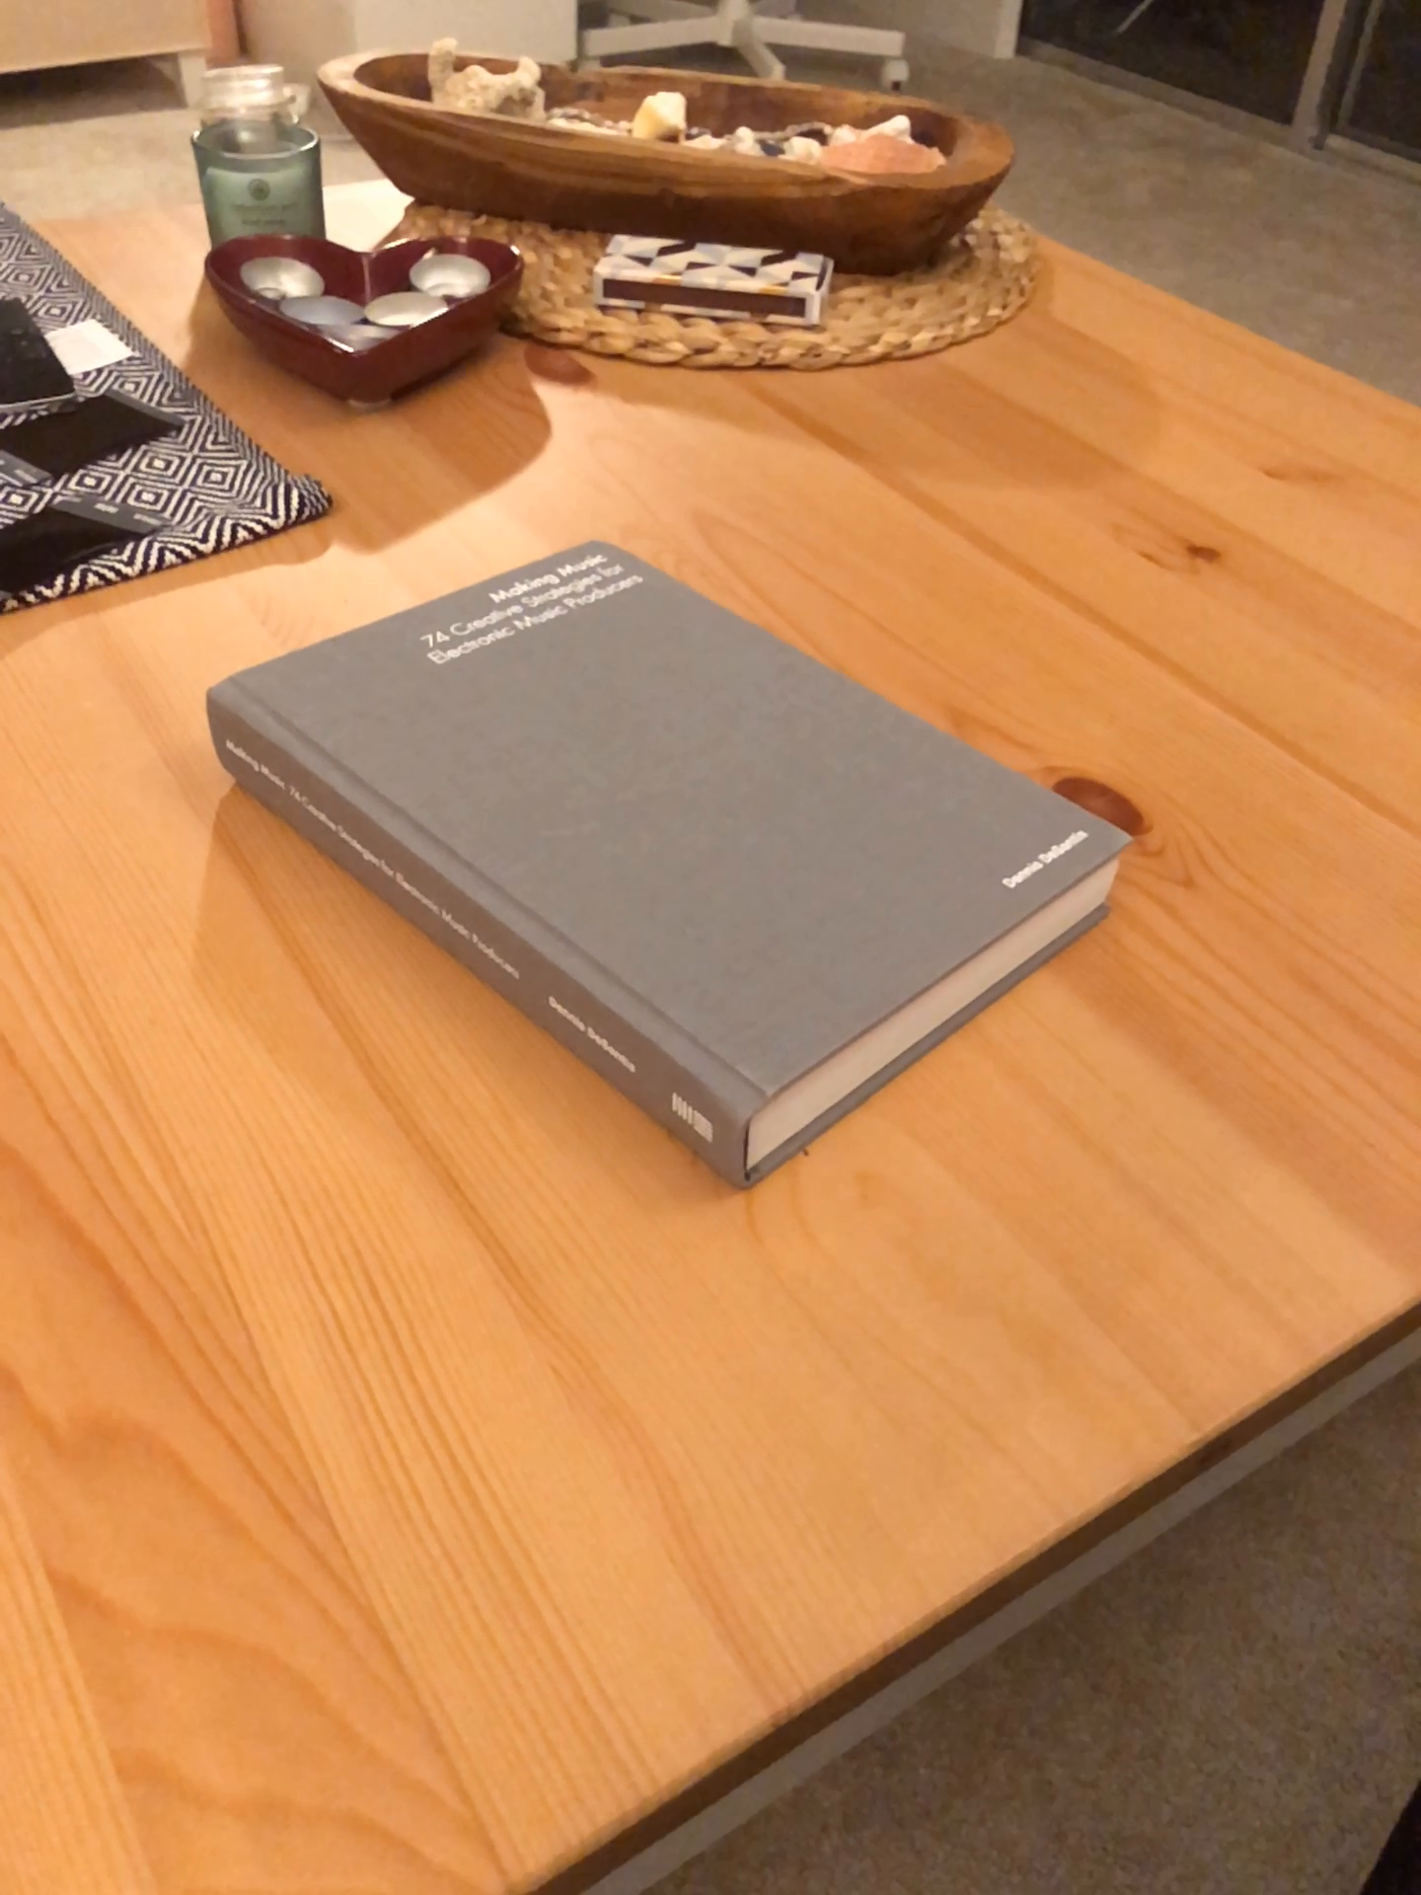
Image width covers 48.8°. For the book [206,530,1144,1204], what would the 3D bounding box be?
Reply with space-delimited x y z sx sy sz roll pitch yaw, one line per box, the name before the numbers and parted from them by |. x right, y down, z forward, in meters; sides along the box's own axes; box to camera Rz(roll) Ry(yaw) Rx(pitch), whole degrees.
book | -0.015 -0.044 0.472 0.167 0.030 0.228 -31 53 -33
